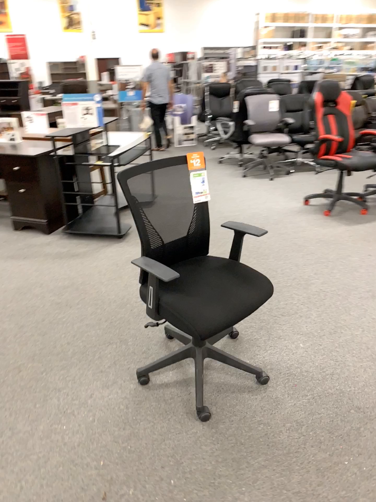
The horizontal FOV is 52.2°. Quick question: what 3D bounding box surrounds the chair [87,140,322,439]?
[{"bbox_3d":[0.058,0.094,1.721,0.671,0.995,0.642,-19,31,-33],"label":"chair"}]
